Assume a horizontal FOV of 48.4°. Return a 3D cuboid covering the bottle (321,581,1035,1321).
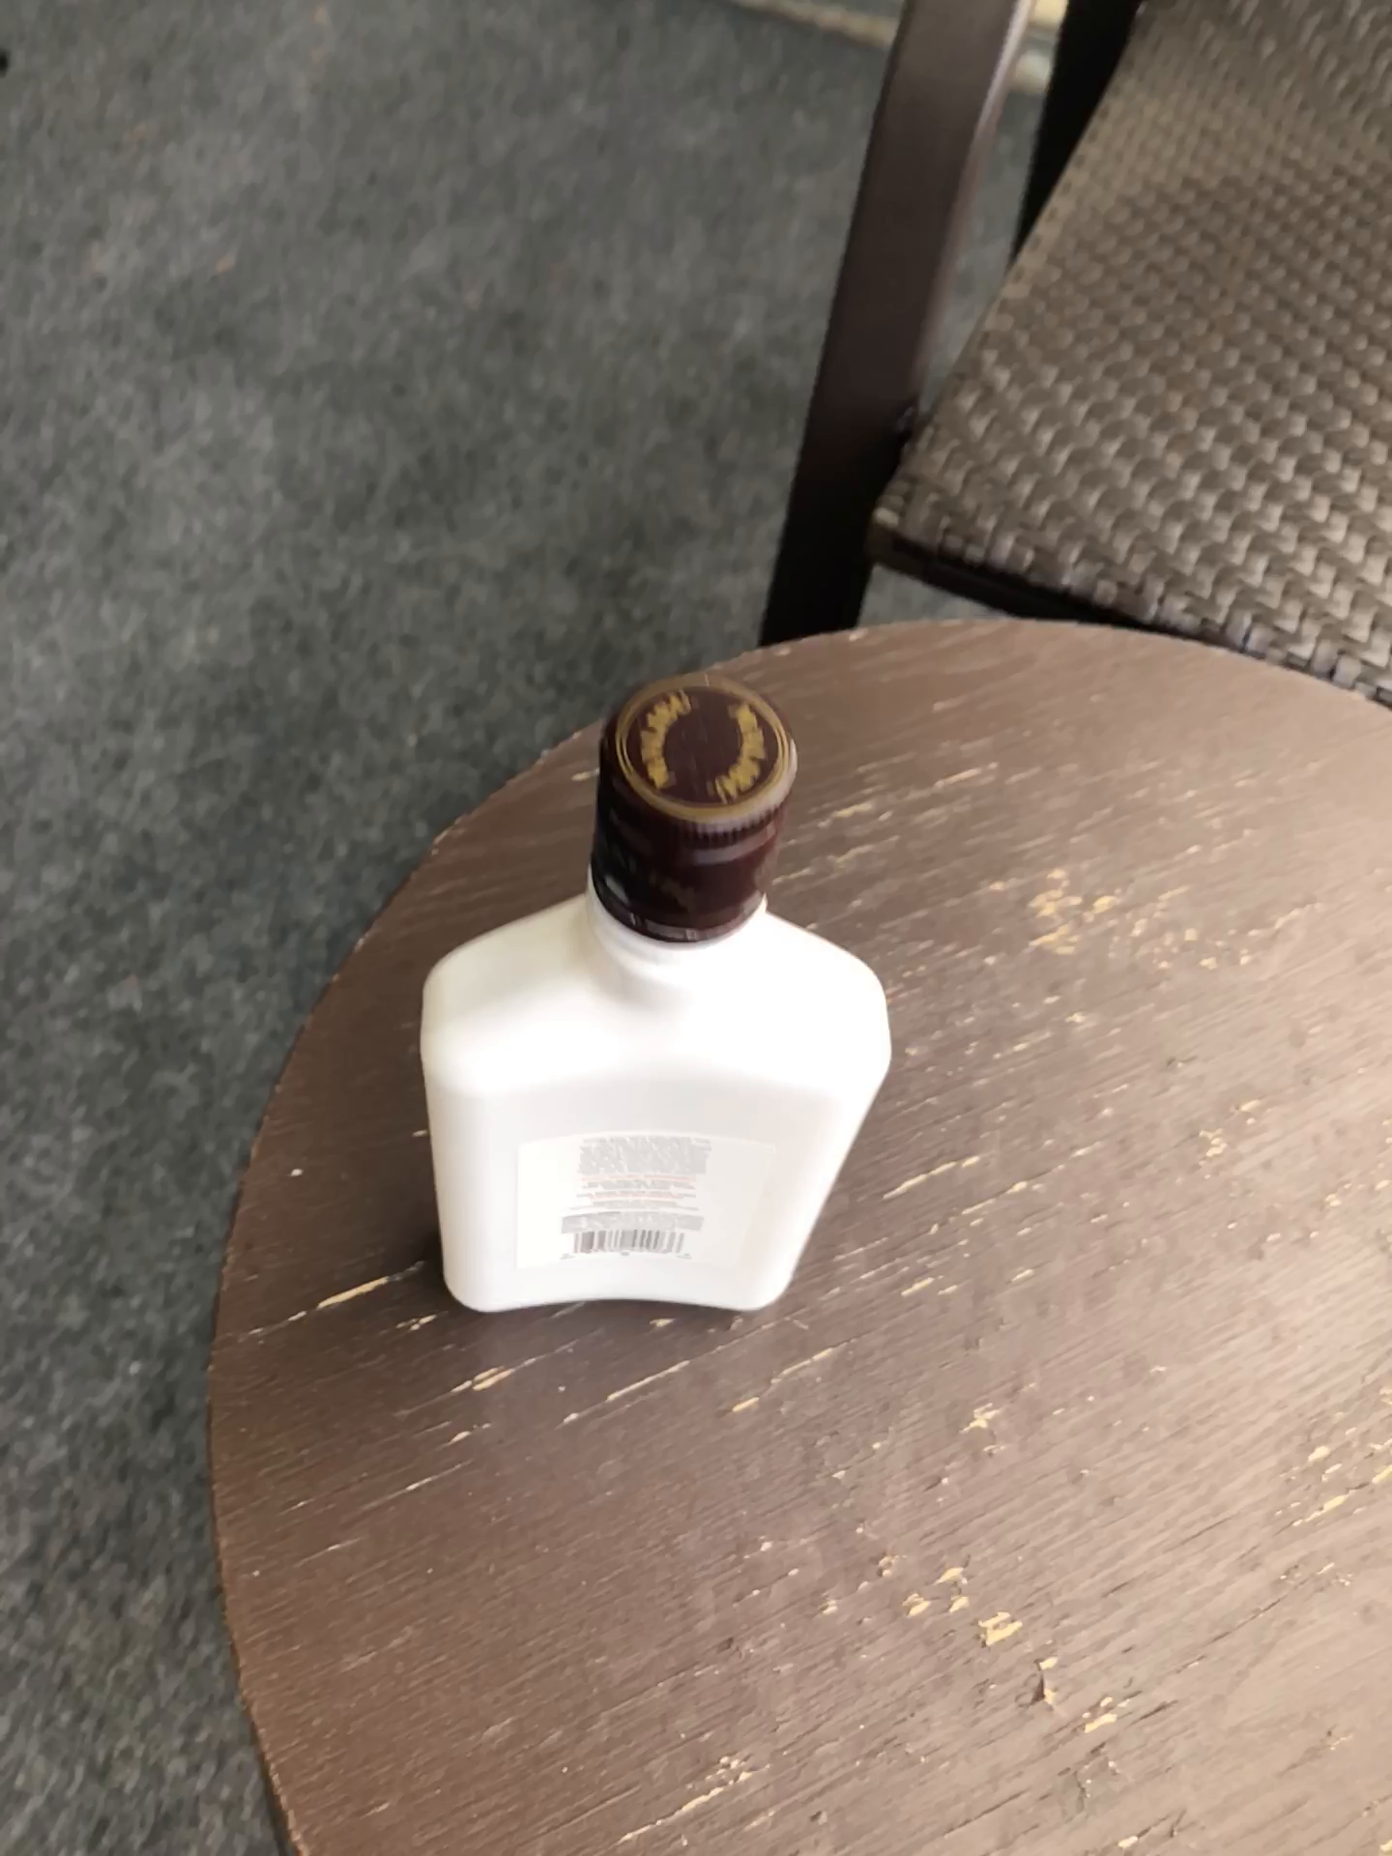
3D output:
[{"bbox_3d":[-0.009,0.022,0.317,0.100,0.210,0.045,-1,57,-4],"label":"bottle"}]
